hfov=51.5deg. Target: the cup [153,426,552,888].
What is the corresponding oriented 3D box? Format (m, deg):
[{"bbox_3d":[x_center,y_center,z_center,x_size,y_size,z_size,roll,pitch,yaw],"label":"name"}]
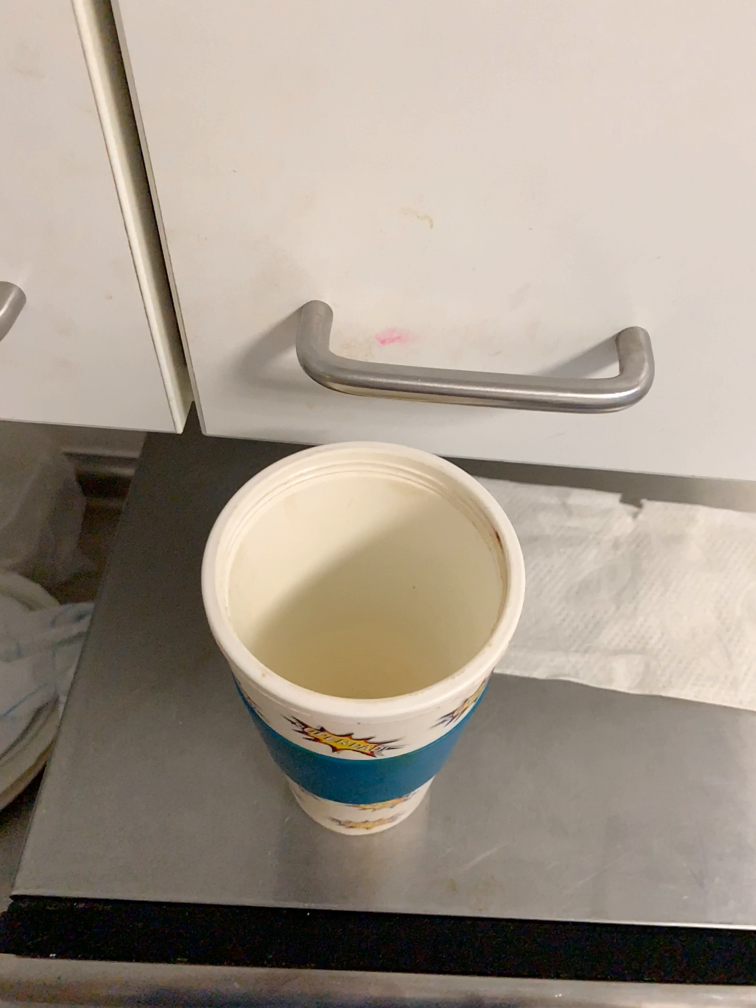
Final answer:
[{"bbox_3d":[-0.007,0.060,0.269,0.092,0.146,0.097,1,51,-1],"label":"cup"}]
